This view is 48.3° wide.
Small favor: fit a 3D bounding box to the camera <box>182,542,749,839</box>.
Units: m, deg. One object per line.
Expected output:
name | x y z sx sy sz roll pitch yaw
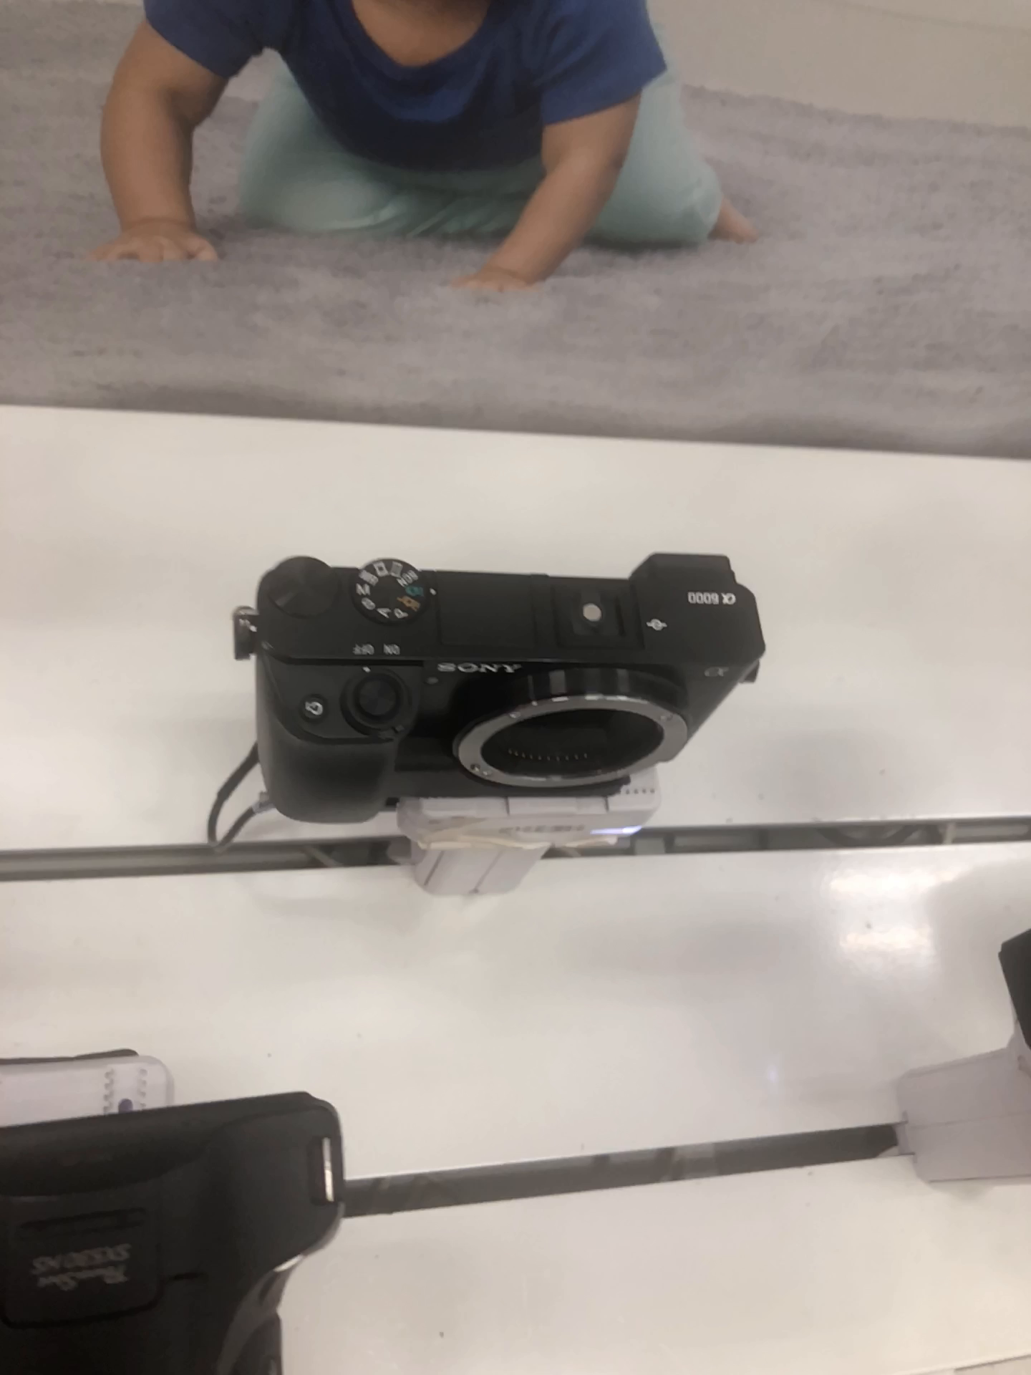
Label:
camera | -0.016 0.002 0.278 0.120 0.070 0.040 -2 63 -15
